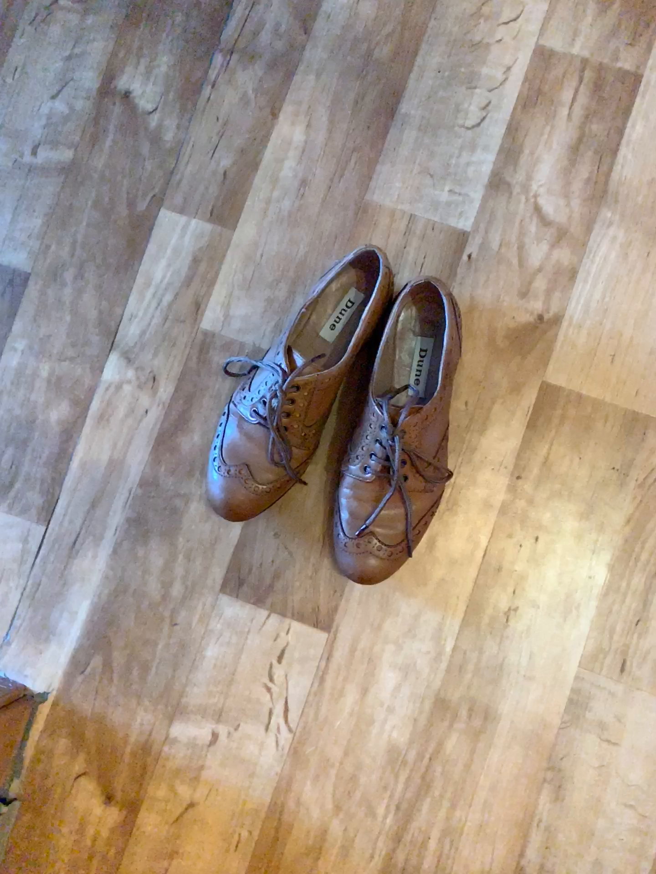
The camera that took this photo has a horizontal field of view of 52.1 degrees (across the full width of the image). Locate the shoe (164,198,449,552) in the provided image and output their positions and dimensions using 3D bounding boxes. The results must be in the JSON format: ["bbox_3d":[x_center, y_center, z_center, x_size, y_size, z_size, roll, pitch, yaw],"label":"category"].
[{"bbox_3d":[-0.010,-0.040,0.530,0.090,0.120,0.240,30,86,7],"label":"shoe"}]

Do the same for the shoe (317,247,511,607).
[{"bbox_3d":[0.062,-0.004,0.506,0.080,0.120,0.230,13,84,5],"label":"shoe"}]
